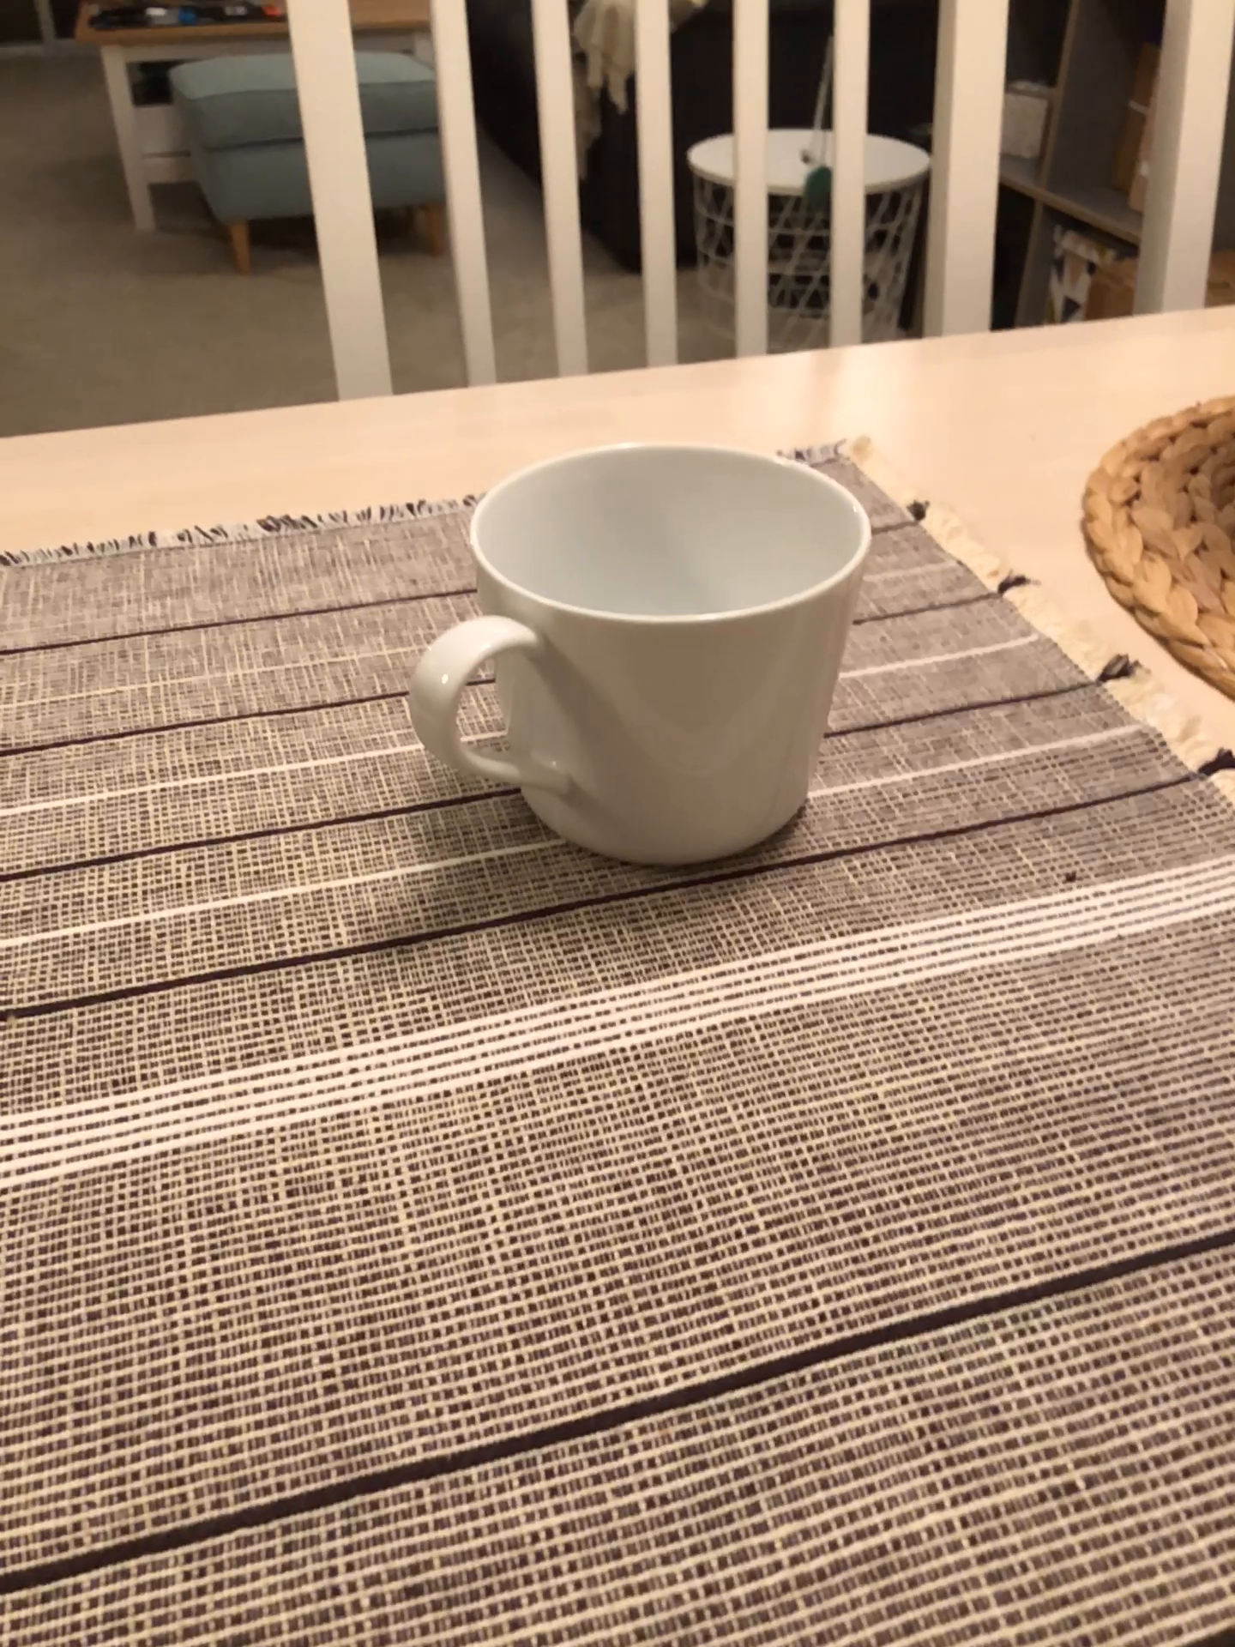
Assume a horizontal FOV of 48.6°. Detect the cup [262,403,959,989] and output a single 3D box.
[{"bbox_3d":[0.001,-0.043,0.353,0.100,0.070,0.141,31,47,33],"label":"cup"}]
